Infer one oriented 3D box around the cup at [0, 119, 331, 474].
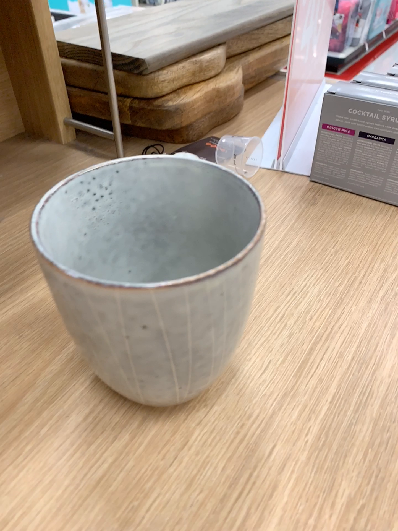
[{"bbox_3d":[-0.014,0.007,0.201,0.107,0.098,0.136,4,41,1],"label":"cup"}]
